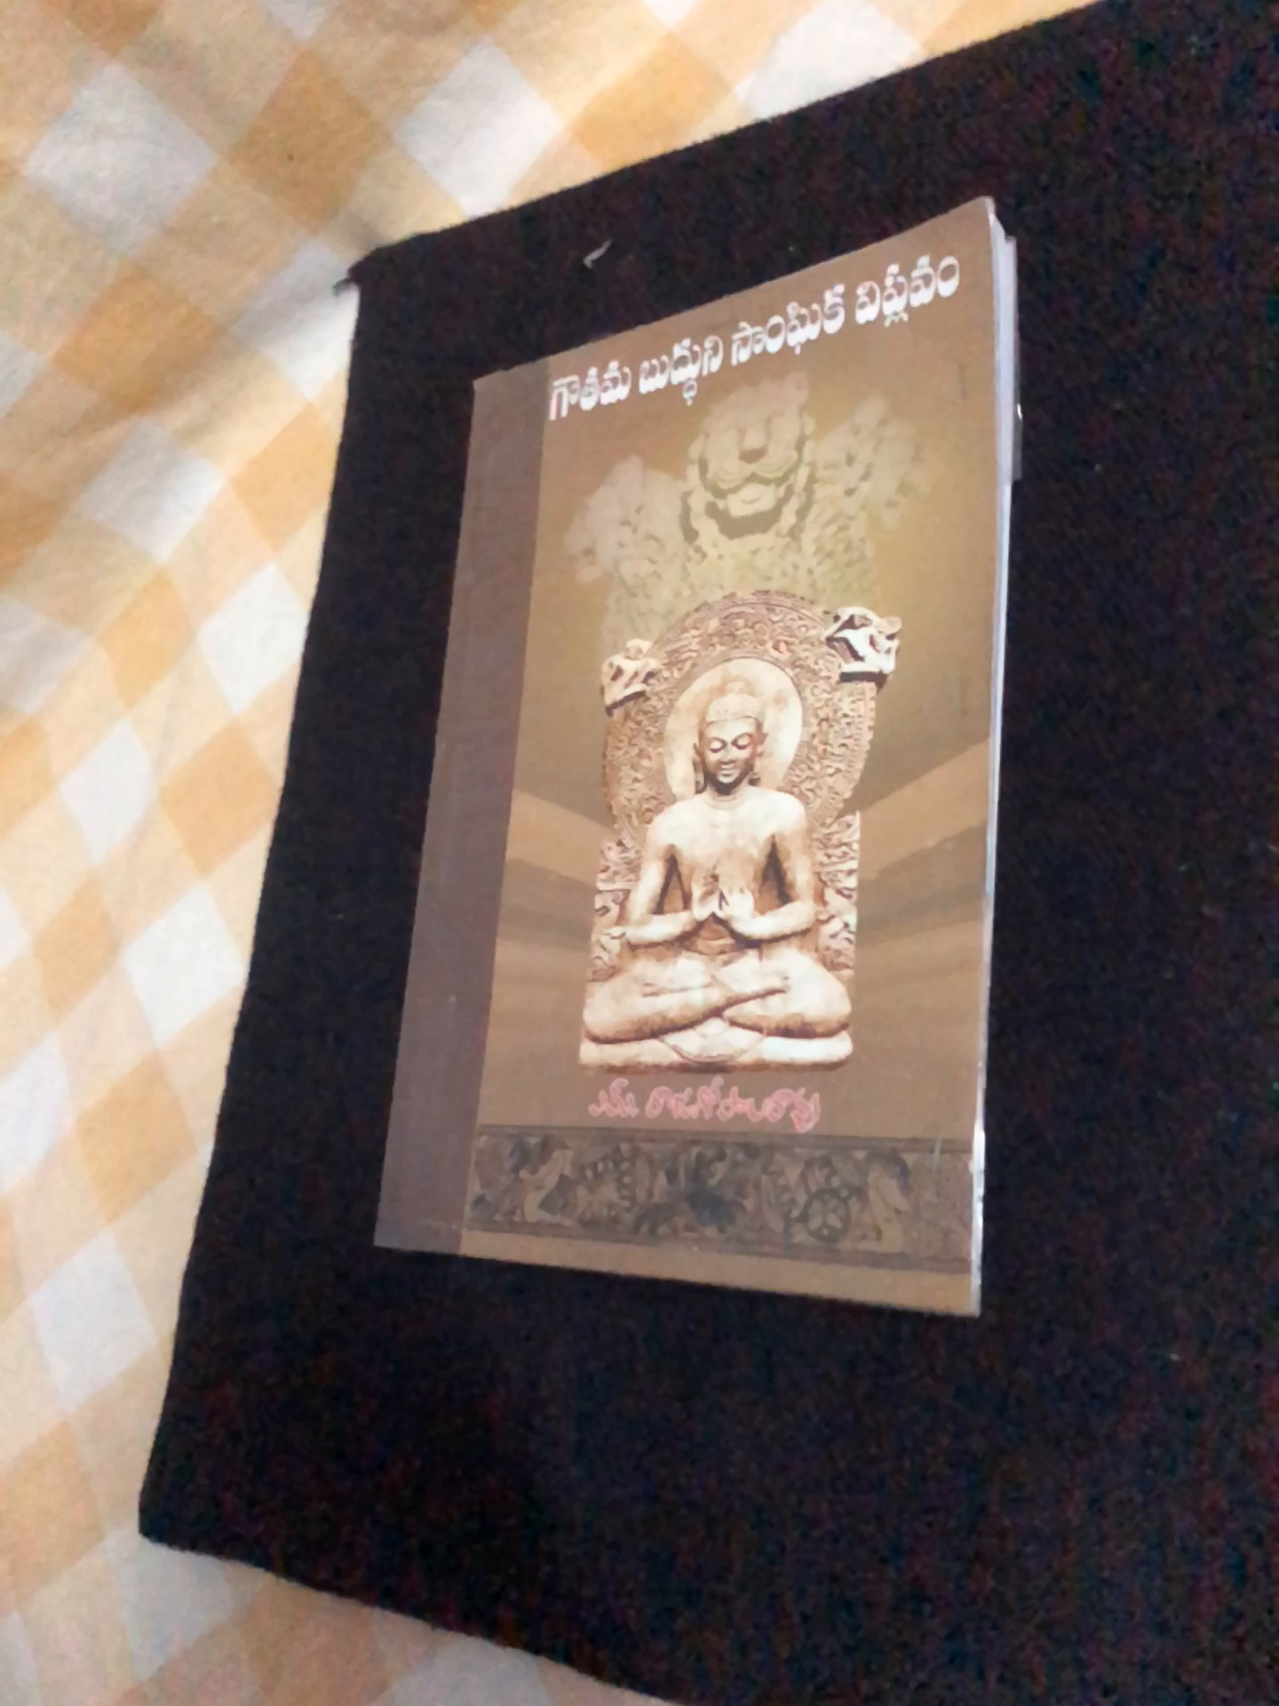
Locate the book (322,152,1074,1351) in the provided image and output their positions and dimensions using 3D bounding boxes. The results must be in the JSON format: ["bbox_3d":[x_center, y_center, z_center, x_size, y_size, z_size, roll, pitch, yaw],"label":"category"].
[{"bbox_3d":[0.013,-0.024,0.301,0.150,0.020,0.230,-5,70,32],"label":"book"}]
